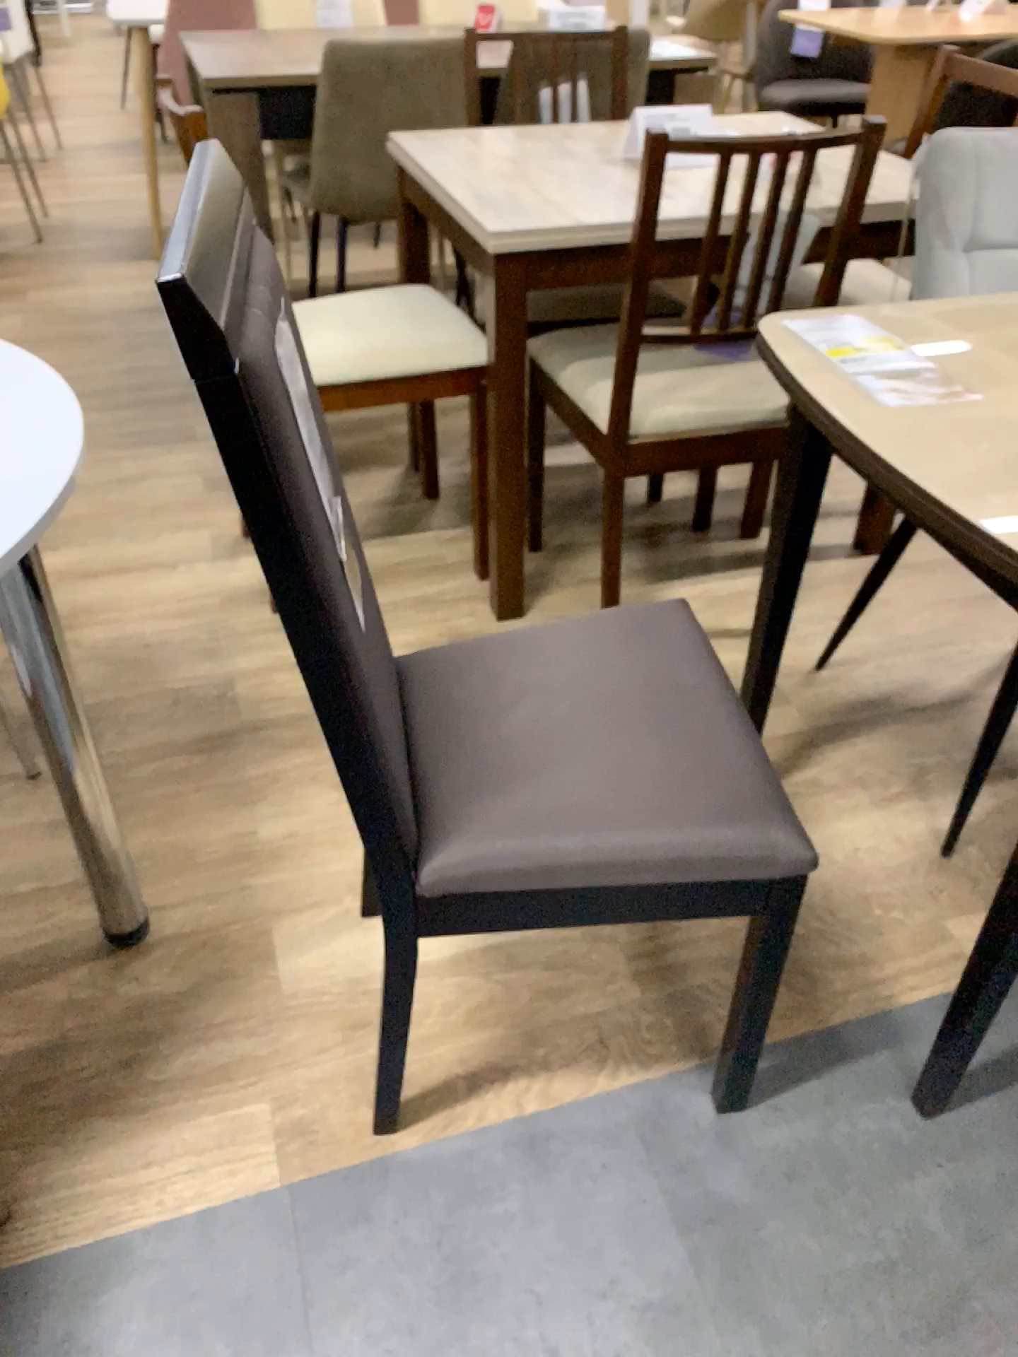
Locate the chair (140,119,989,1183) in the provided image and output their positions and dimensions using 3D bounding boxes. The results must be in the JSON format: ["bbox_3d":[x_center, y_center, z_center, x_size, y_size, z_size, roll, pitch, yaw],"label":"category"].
[{"bbox_3d":[0.011,0.026,1.087,0.500,0.994,0.442,-5,39,-7],"label":"chair"}]
